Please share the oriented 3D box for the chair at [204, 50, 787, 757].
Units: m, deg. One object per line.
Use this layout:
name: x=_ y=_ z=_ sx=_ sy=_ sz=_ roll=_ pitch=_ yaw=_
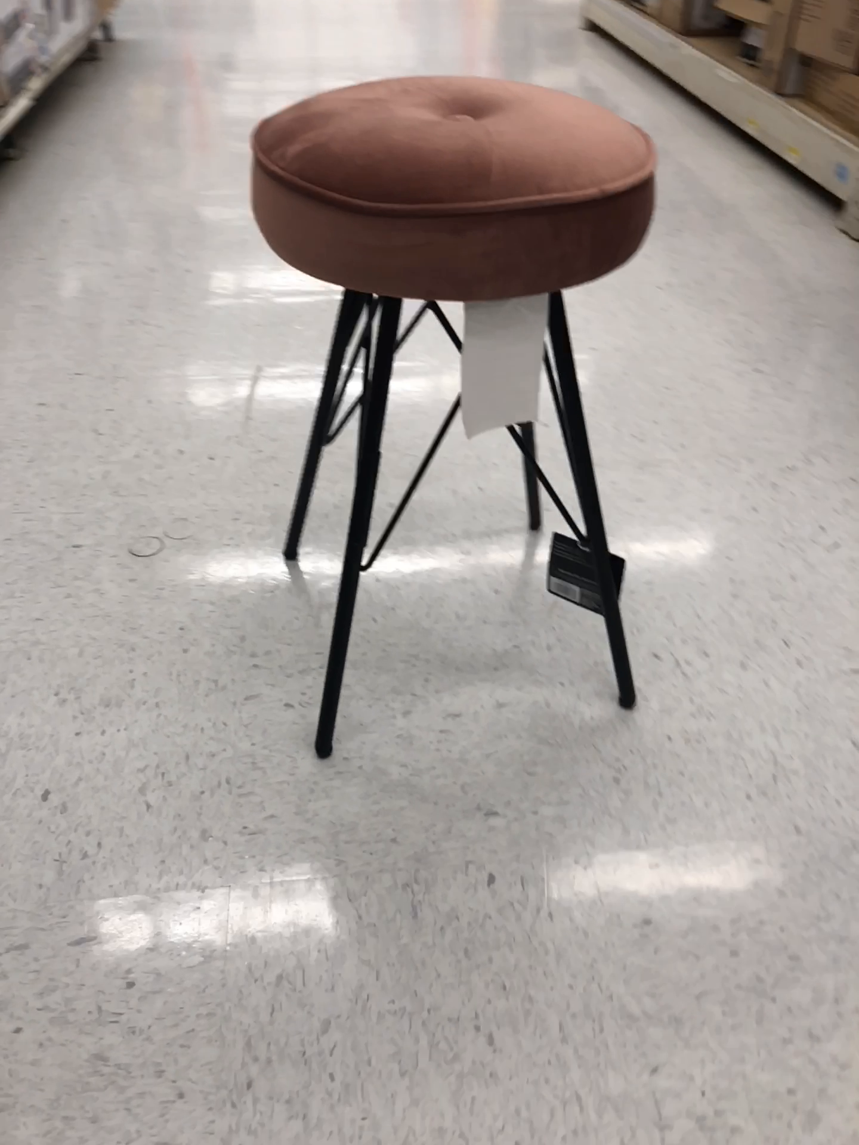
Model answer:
chair: x=0.015 y=-0.157 z=0.862 sx=0.360 sy=0.498 sz=0.352 roll=-7 pitch=39 yaw=-9
